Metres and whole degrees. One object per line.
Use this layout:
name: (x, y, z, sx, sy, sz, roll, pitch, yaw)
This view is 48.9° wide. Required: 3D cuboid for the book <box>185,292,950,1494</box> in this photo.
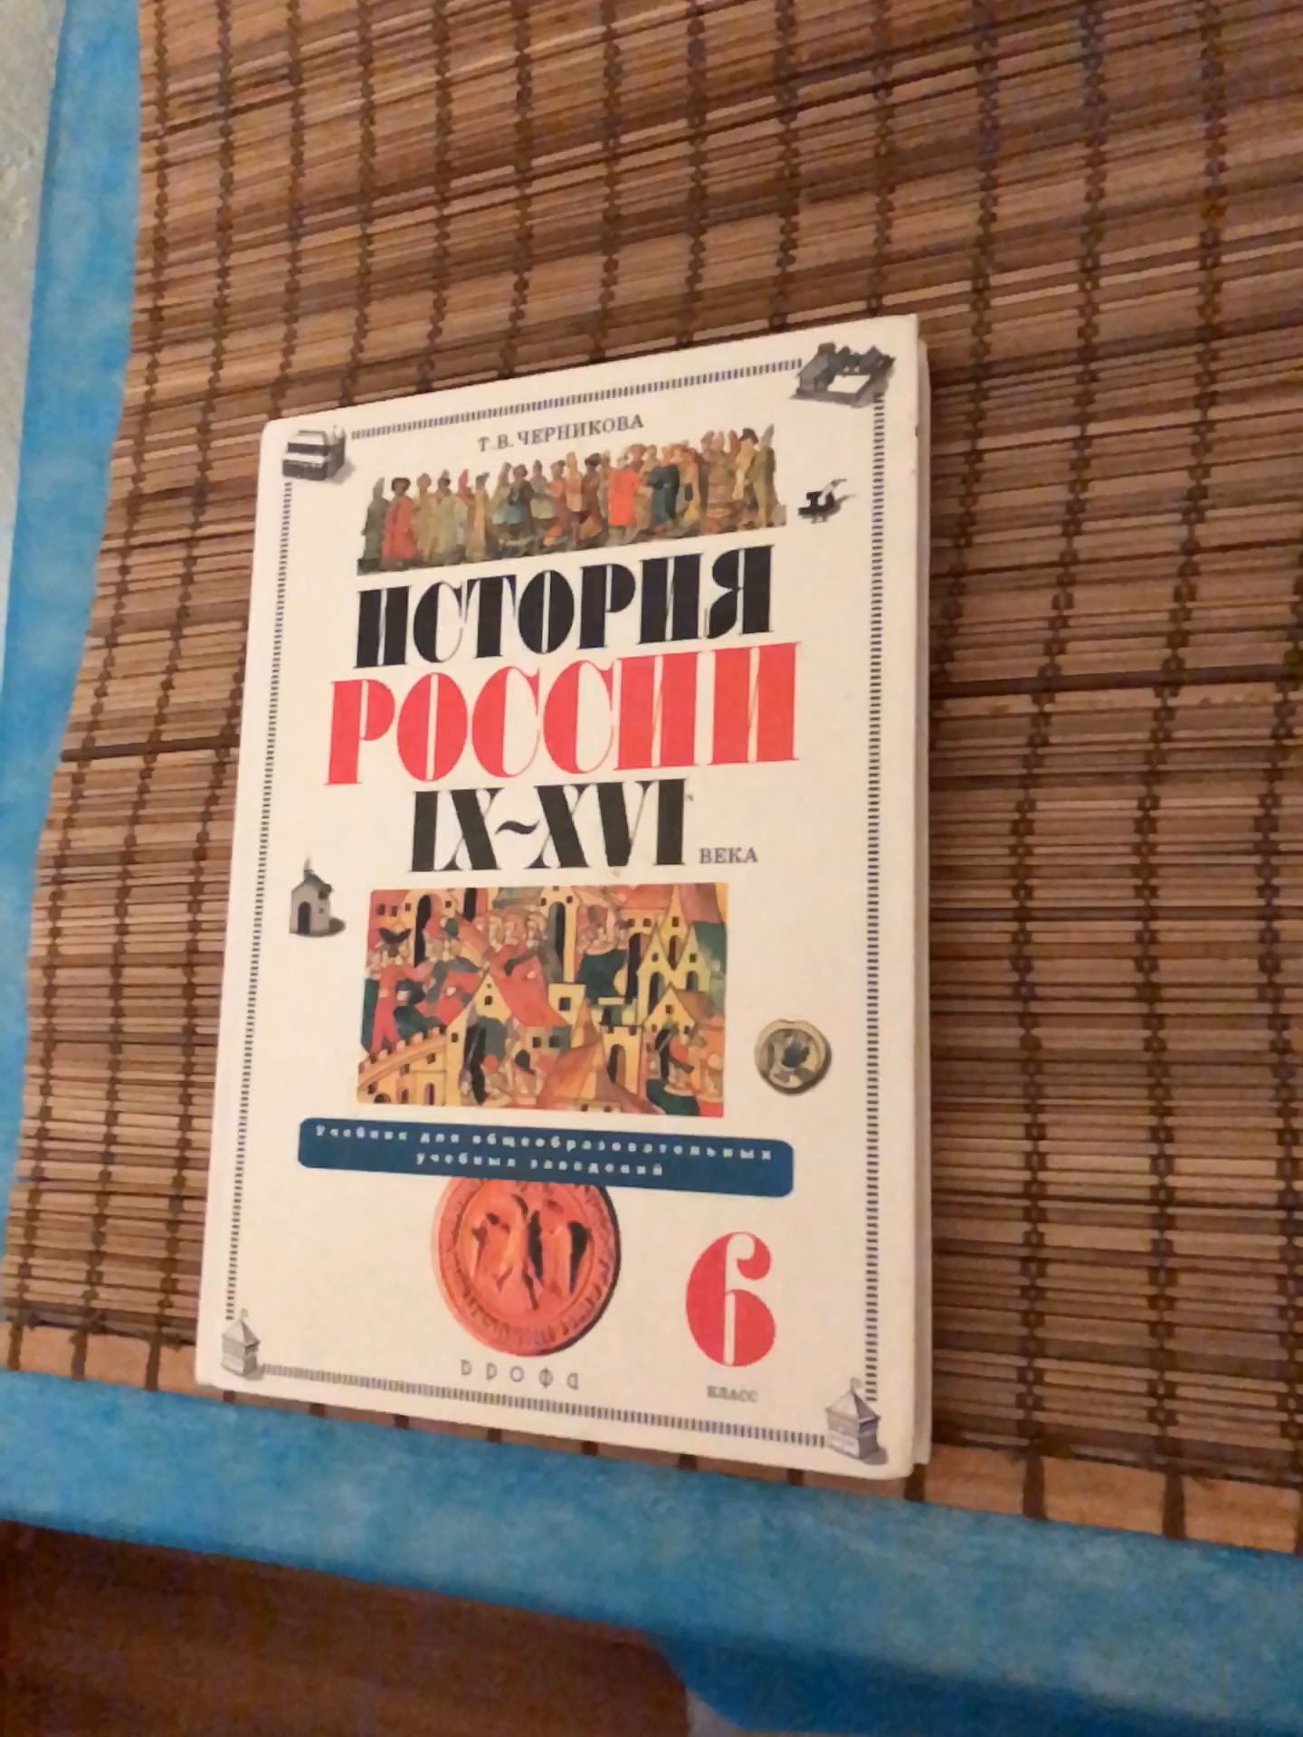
book: (-0.020, 0.001, 0.330, 0.170, 0.029, 0.240, -2, 80, 23)
